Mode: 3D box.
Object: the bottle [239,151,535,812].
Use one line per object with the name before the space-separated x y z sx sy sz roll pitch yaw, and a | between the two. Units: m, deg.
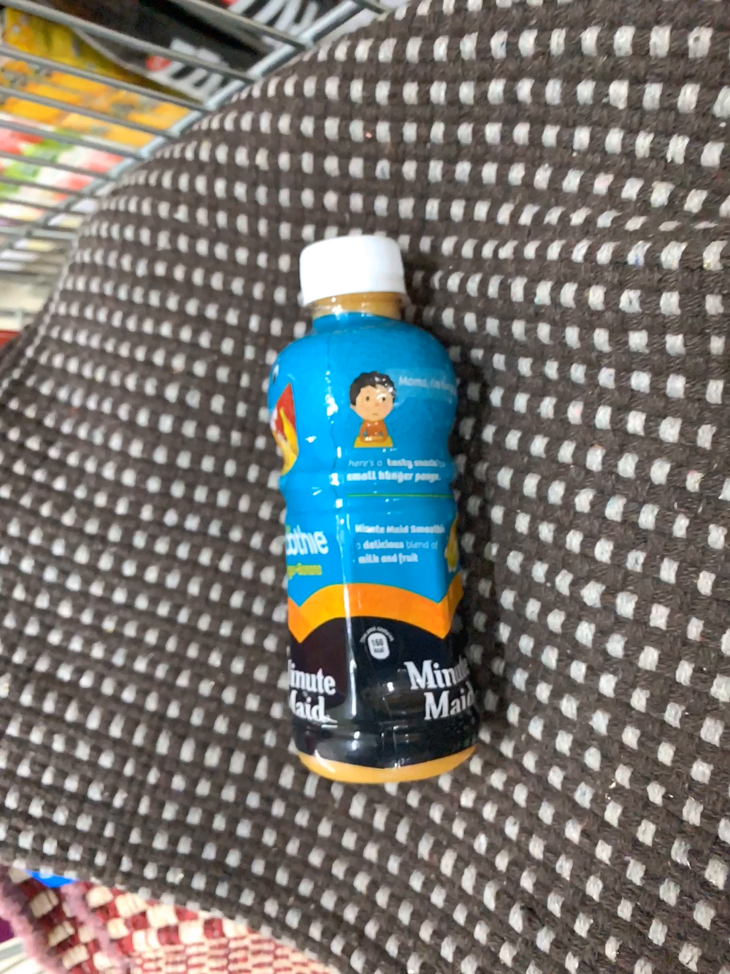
bottle | 0.005 0.000 0.220 0.060 0.040 0.160 -5 90 42
